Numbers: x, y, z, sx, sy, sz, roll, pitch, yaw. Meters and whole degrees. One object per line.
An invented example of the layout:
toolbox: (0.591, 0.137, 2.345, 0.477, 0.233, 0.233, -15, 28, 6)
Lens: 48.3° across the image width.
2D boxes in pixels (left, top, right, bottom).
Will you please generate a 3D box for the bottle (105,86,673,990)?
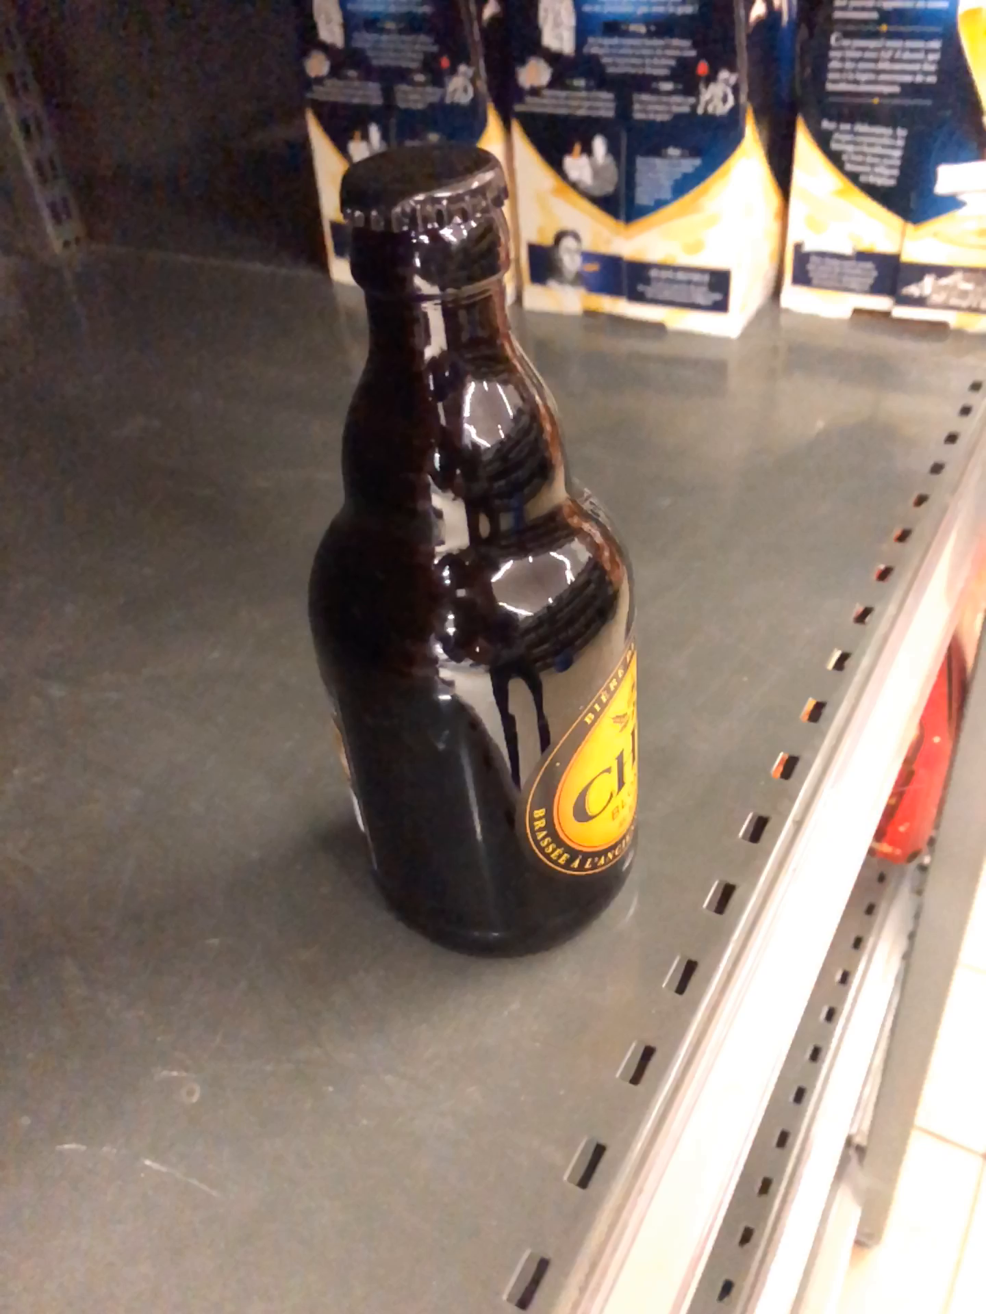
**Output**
bottle: (-0.005, -0.017, 0.230, 0.070, 0.169, 0.070, -4, 39, 3)
